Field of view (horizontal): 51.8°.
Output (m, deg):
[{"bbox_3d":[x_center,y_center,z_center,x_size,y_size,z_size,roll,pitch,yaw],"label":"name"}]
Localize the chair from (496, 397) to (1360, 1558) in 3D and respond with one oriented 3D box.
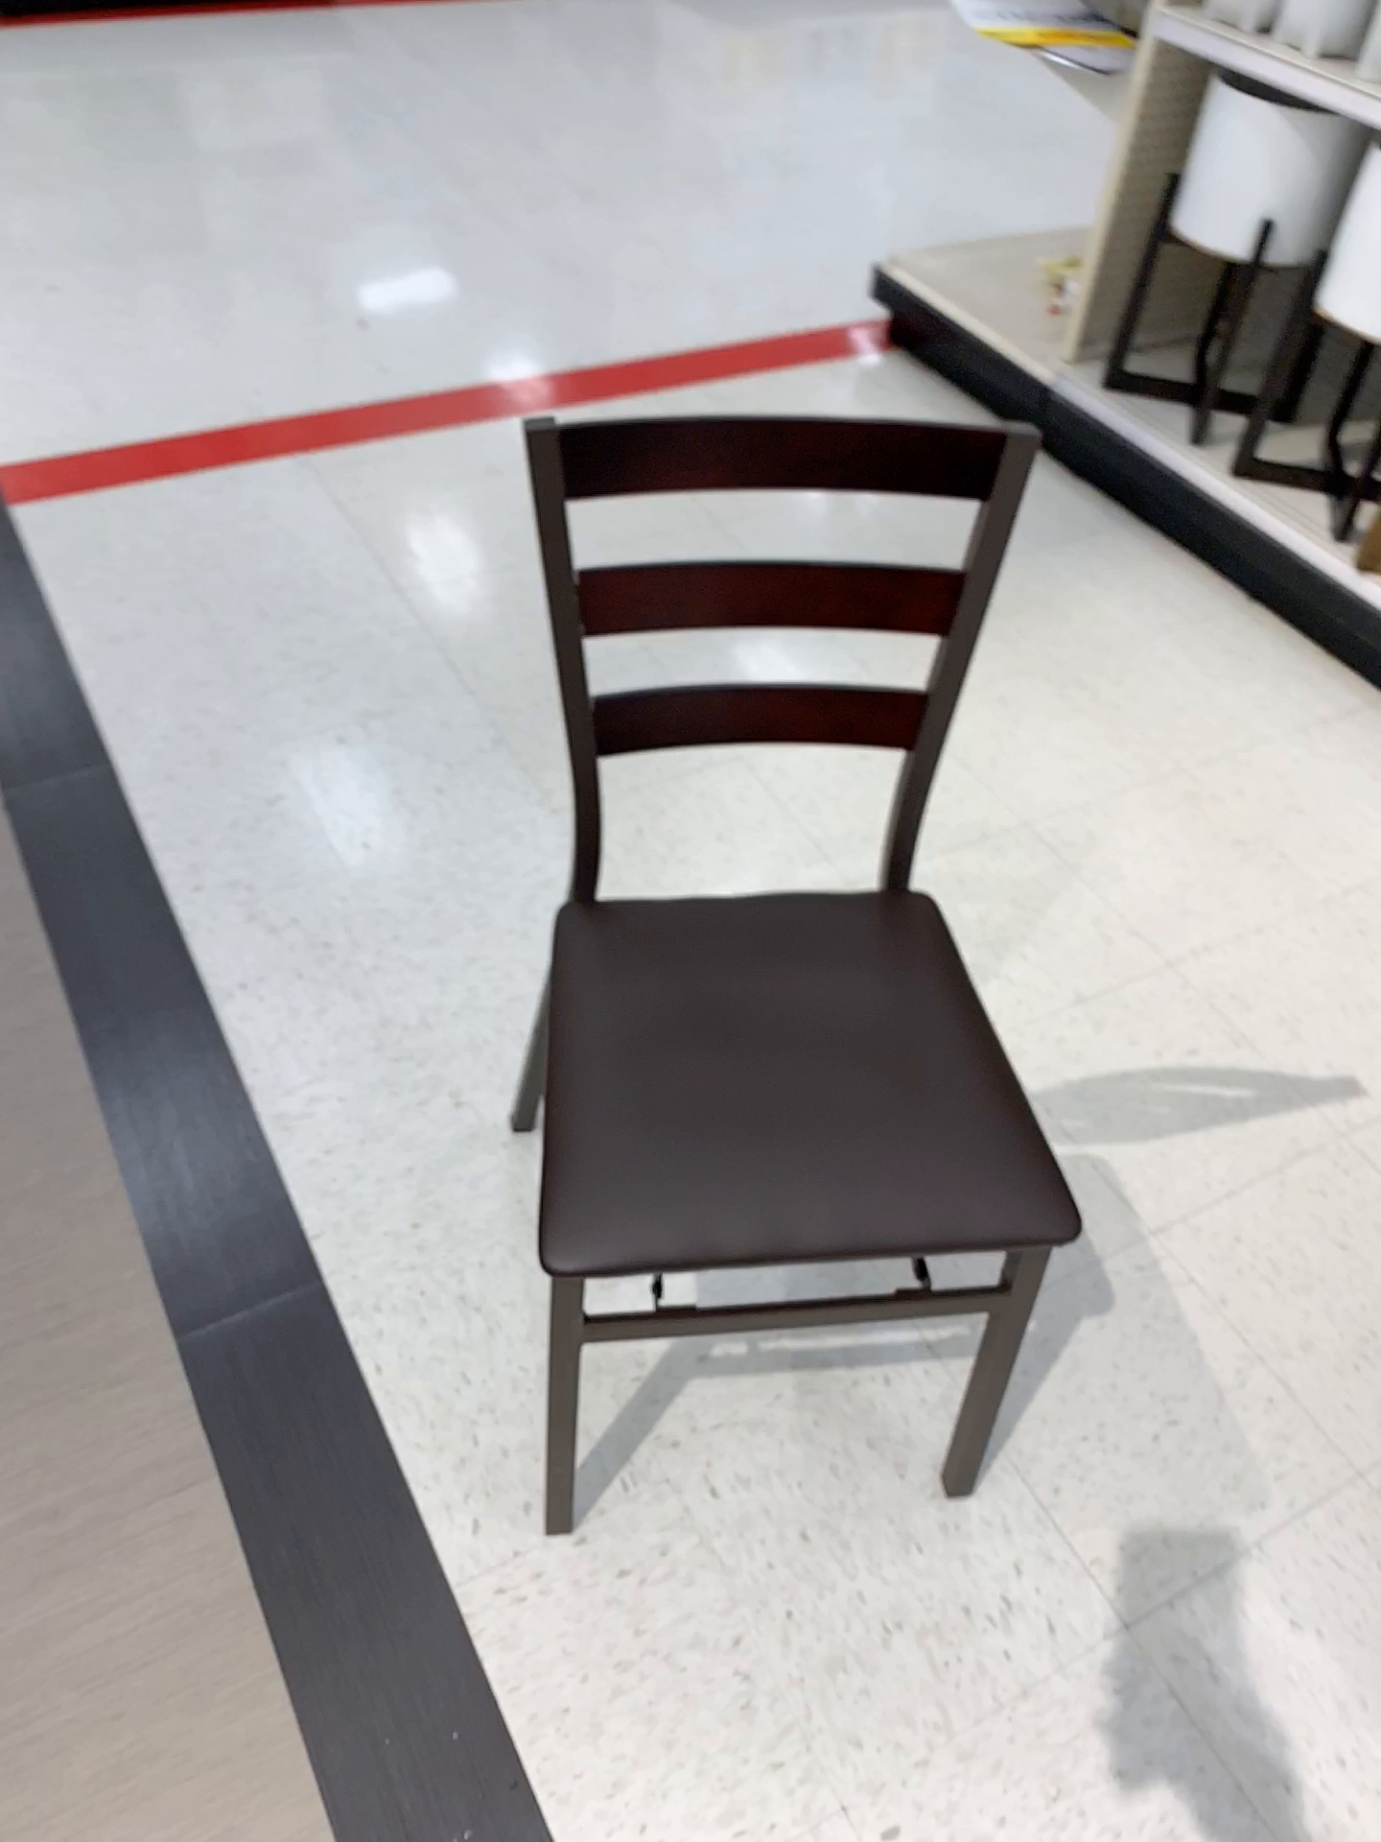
[{"bbox_3d":[0.074,0.084,1.186,0.440,0.826,0.522,-2,45,-7],"label":"chair"}]
